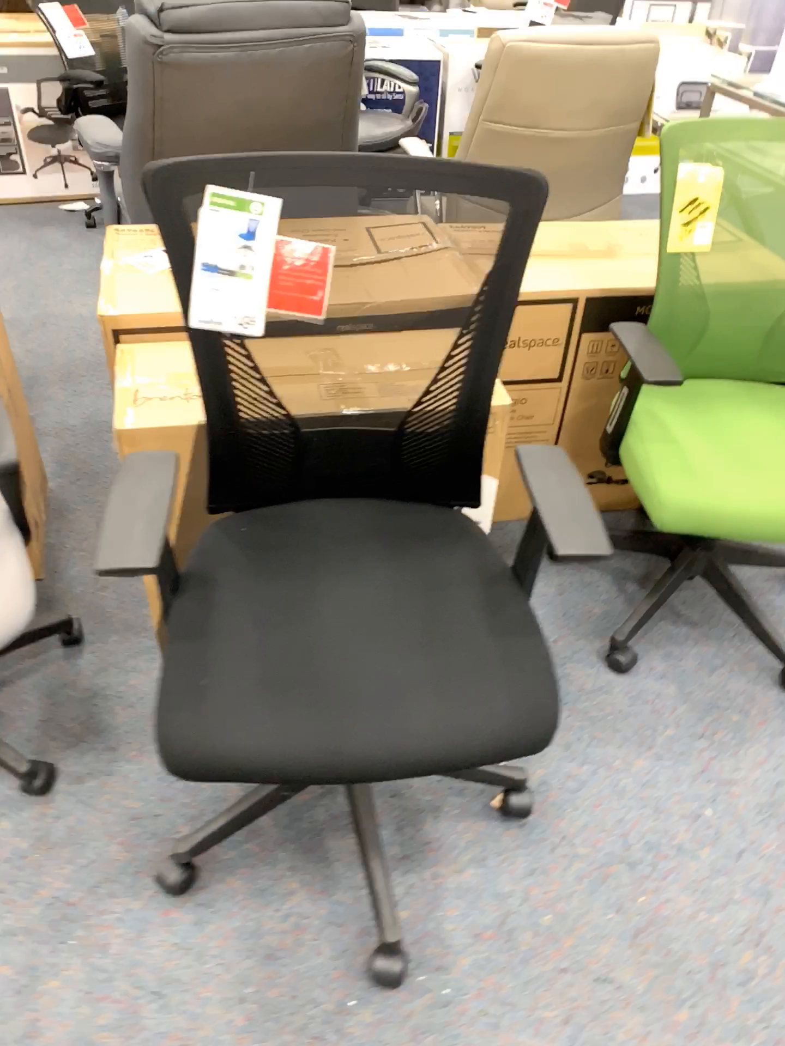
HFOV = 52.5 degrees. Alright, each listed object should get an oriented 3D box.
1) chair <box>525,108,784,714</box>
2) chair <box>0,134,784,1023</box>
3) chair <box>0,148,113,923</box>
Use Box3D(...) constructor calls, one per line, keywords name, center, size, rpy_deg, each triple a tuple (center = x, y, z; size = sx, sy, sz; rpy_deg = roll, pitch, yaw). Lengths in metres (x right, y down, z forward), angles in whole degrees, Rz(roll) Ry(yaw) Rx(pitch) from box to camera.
Box3D(name="chair", center=(0.746, -0.220, 1.590), size=(0.671, 0.934, 0.712), rpy_deg=(-2, 40, -7))
Box3D(name="chair", center=(-0.043, 0.089, 1.095), size=(0.681, 0.974, 0.682), rpy_deg=(-2, 40, -7))
Box3D(name="chair", center=(-0.886, -0.011, 1.253), size=(0.622, 0.875, 0.681), rpy_deg=(-13, 42, -19))
